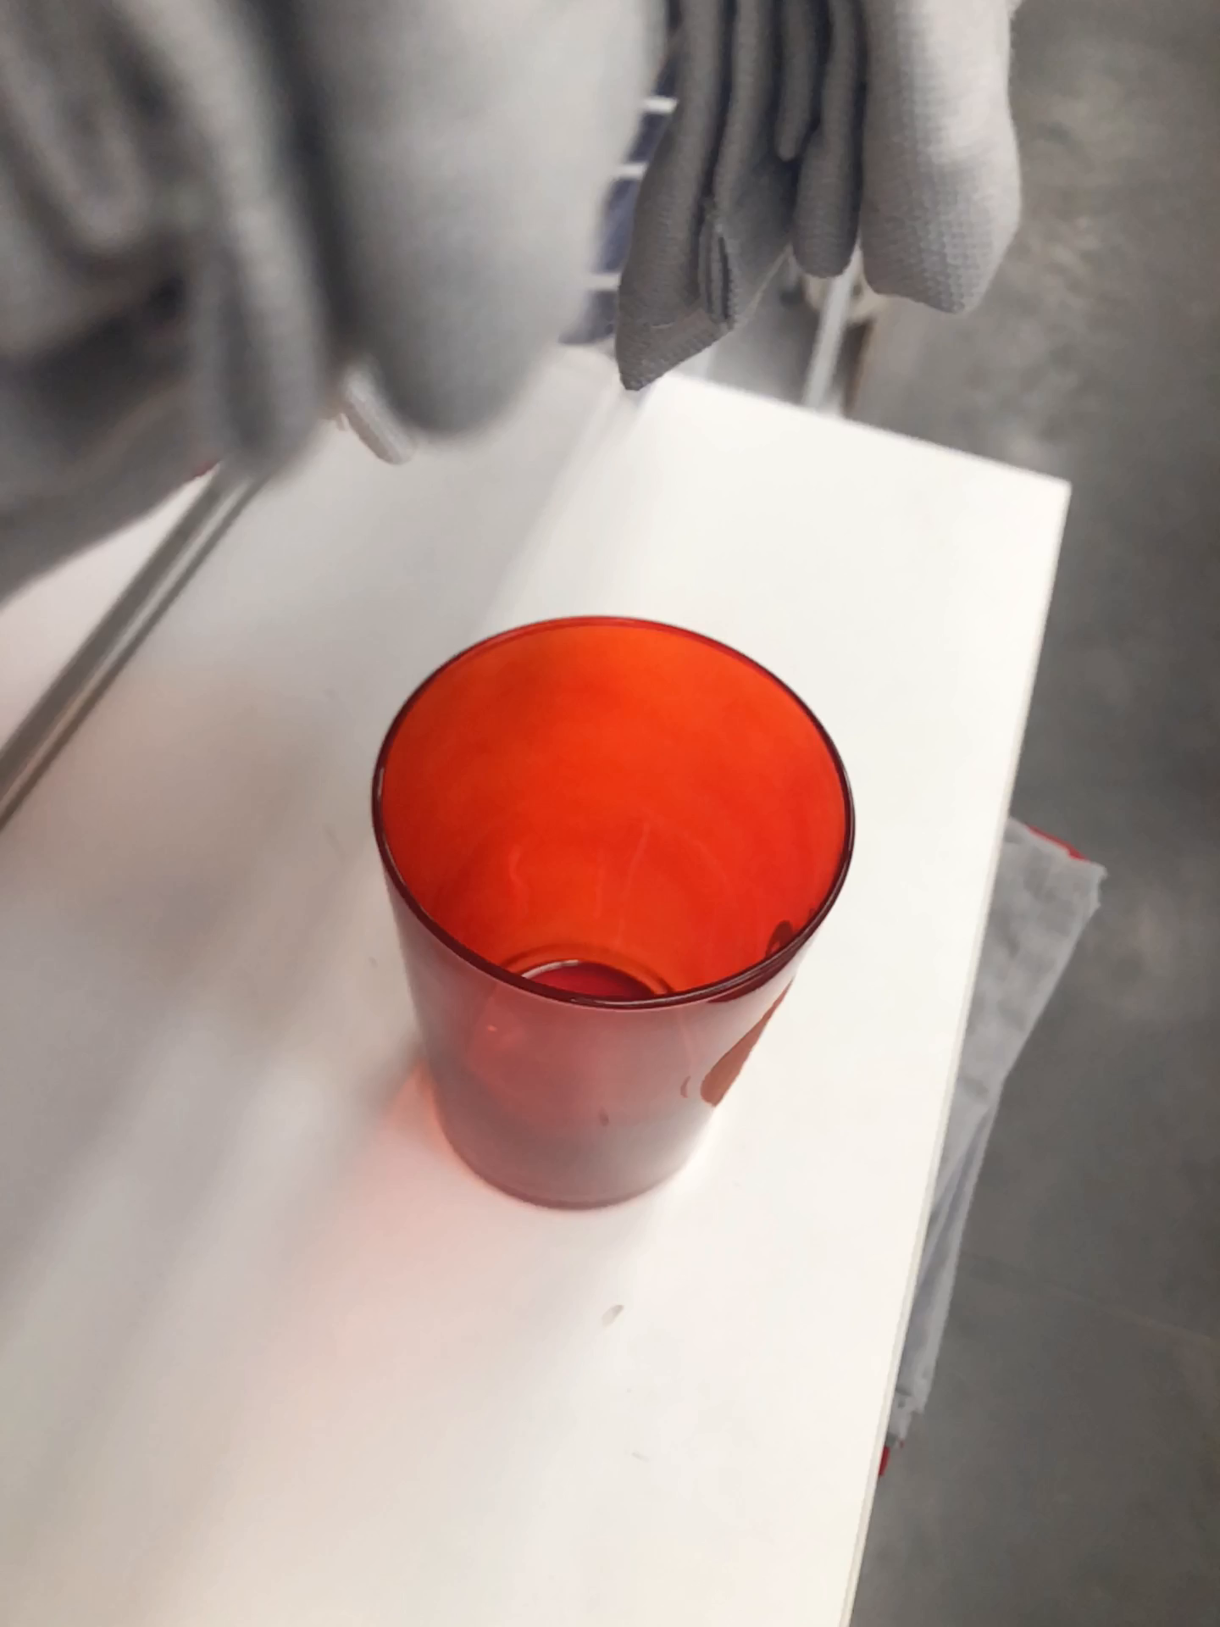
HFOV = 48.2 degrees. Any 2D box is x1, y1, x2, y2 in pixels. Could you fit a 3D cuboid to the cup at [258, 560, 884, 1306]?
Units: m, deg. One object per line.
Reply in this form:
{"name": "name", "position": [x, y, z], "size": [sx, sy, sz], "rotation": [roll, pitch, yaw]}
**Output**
{"name": "cup", "position": [-0.008, 0.031, 0.300], "size": [0.091, 0.121, 0.092], "rotation": [3, 54, -4]}
